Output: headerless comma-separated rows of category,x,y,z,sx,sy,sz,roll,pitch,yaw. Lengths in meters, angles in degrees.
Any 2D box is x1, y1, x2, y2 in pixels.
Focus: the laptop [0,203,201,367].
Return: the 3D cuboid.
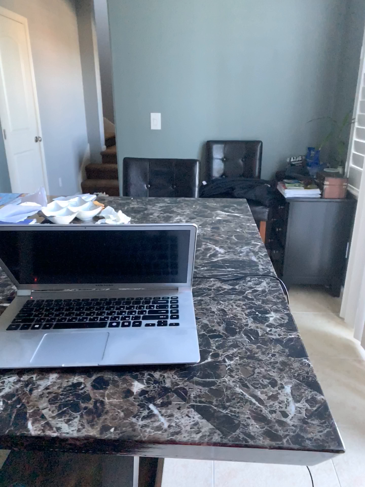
laptop,-0.159,0.054,0.646,0.361,0.188,0.235,-1,20,-2
